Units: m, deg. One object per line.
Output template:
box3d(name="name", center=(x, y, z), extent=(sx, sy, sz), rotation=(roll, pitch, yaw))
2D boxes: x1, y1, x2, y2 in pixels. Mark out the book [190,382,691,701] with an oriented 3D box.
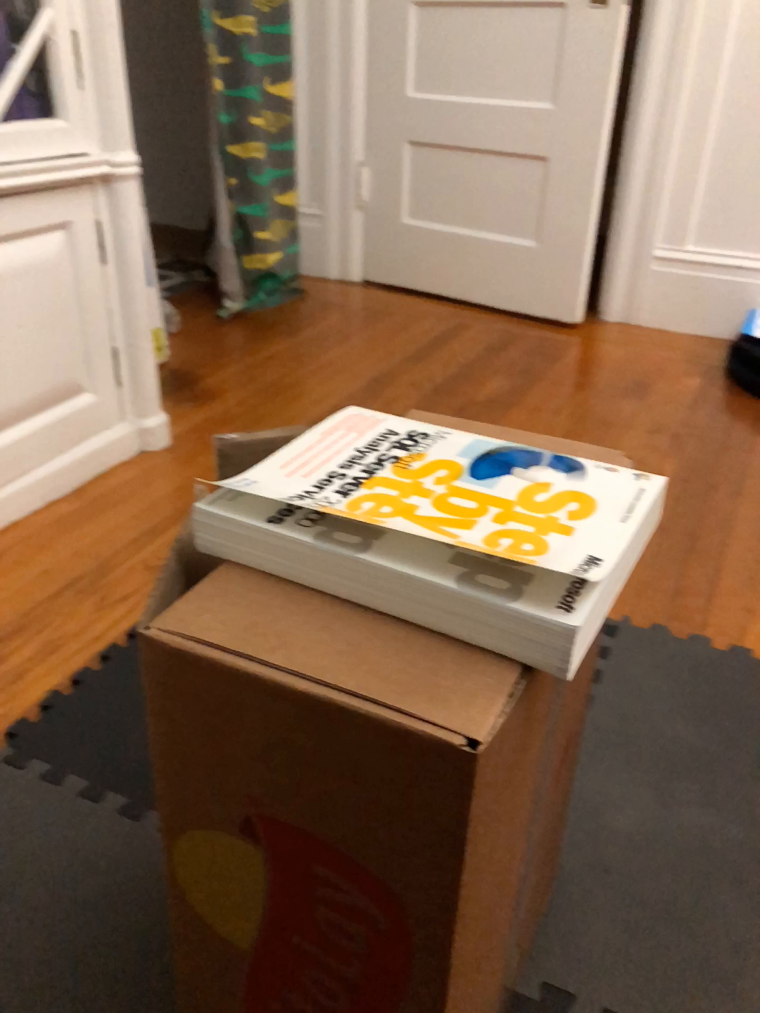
box3d(name="book", center=(0.046, 0.000, 0.509), extent=(0.240, 0.050, 0.201), rotation=(12, 33, 22))
